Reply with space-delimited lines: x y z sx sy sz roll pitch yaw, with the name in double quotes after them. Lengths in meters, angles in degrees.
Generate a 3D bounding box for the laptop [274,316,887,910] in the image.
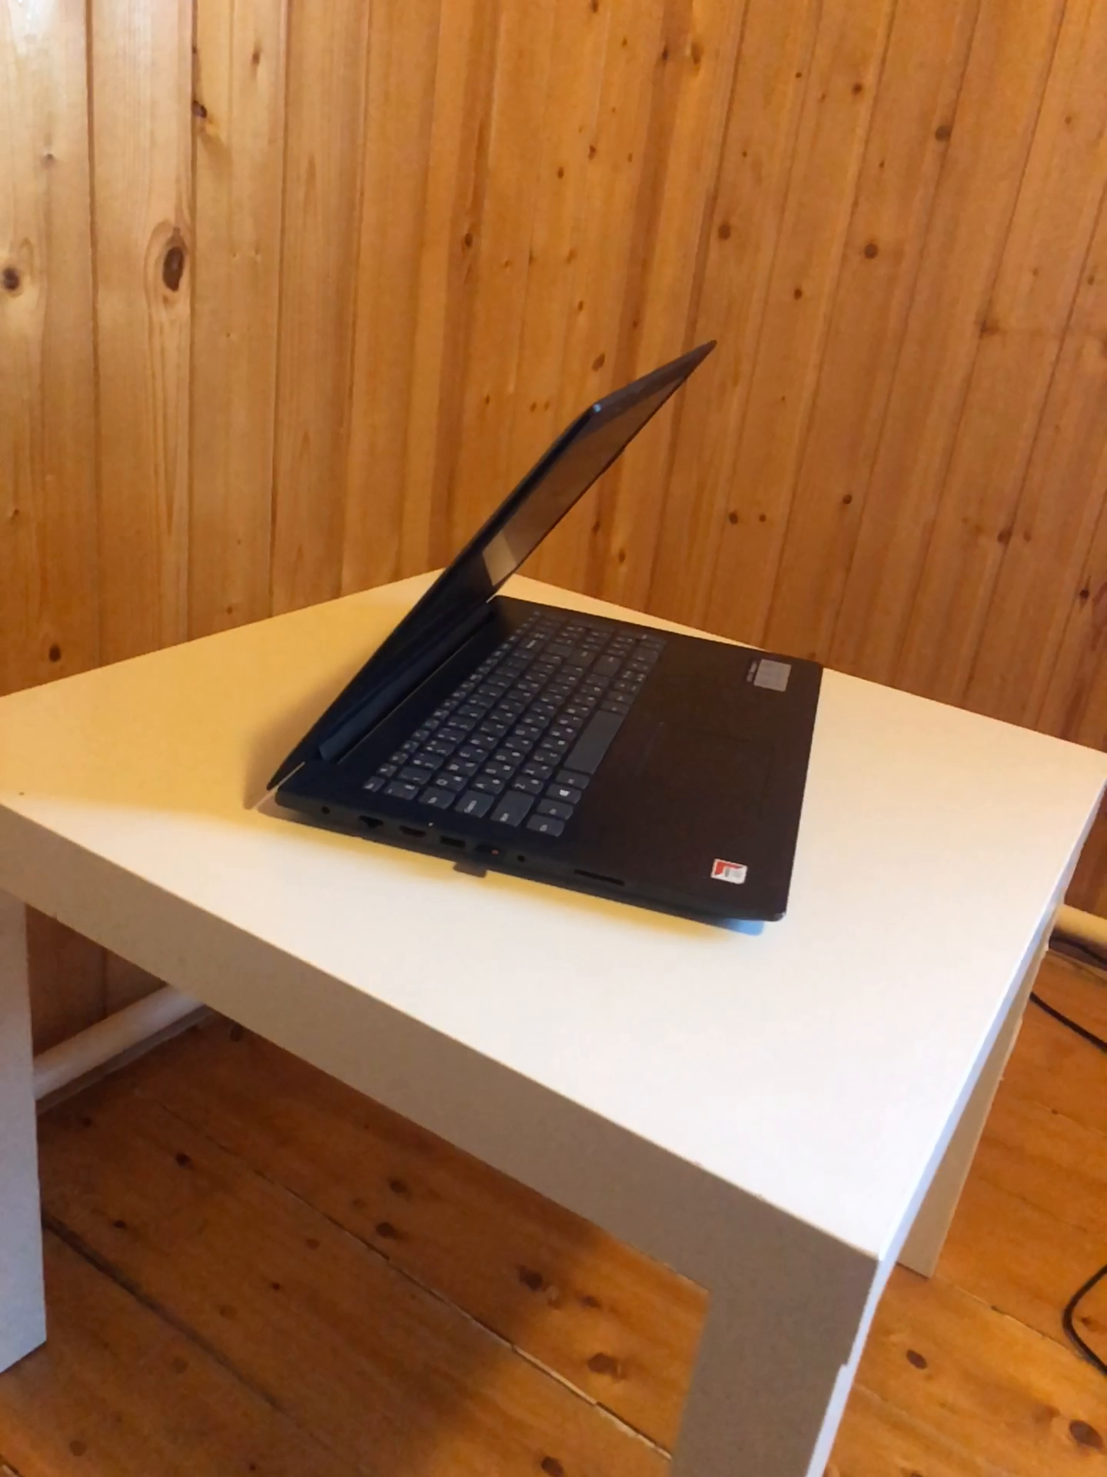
0.043 -0.109 0.702 0.249 0.206 0.374 12 24 11 "laptop"
